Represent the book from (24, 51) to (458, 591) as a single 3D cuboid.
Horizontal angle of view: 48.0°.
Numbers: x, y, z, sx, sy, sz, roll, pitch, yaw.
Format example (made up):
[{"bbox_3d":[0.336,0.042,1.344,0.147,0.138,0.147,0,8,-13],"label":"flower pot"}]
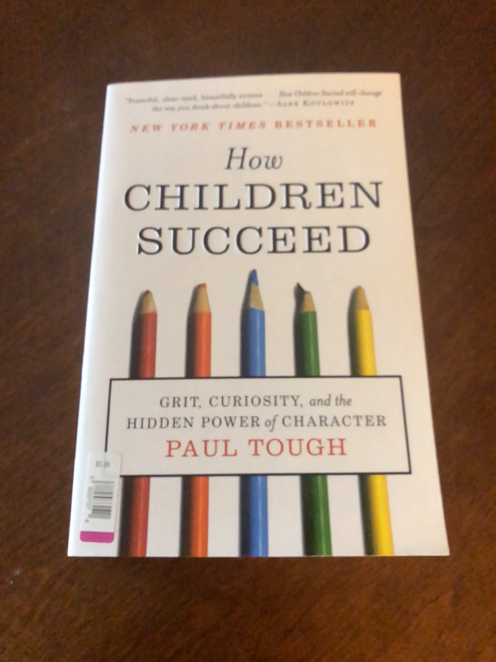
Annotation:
[{"bbox_3d":[-0.003,-0.013,0.224,0.140,0.030,0.210,-1,73,2],"label":"book"}]
